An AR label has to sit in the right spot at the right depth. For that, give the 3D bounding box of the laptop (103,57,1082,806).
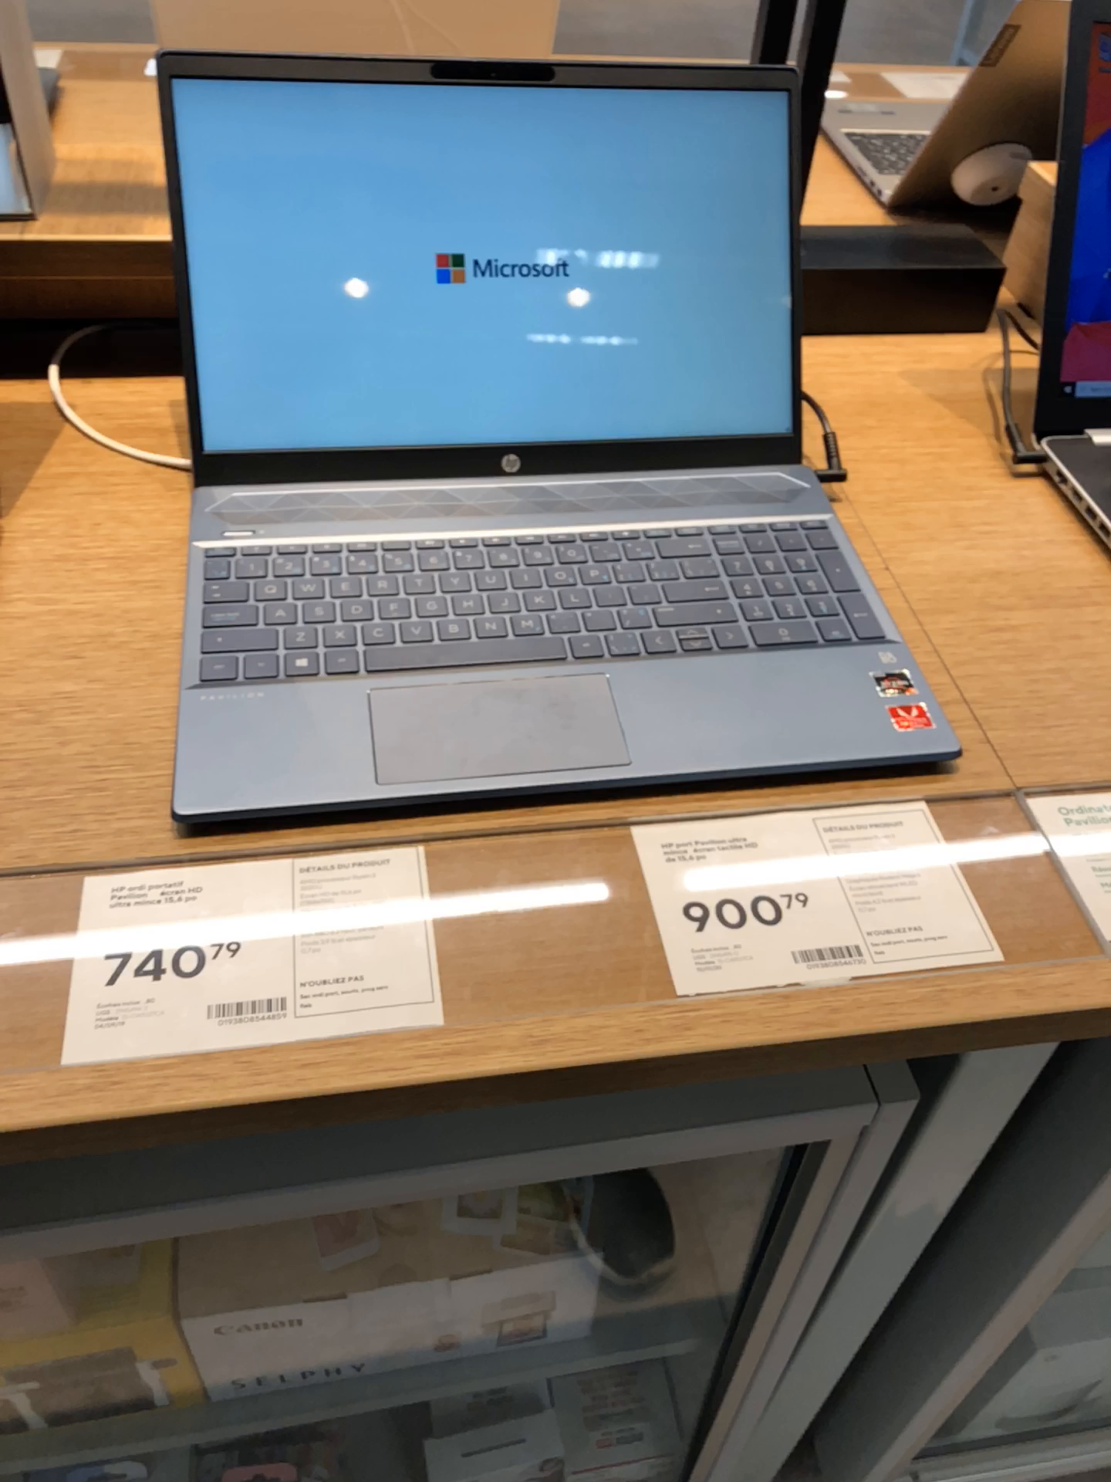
[{"bbox_3d":[-0.013,-0.174,0.601,0.338,0.184,0.357,-4,44,-11],"label":"laptop"}]
